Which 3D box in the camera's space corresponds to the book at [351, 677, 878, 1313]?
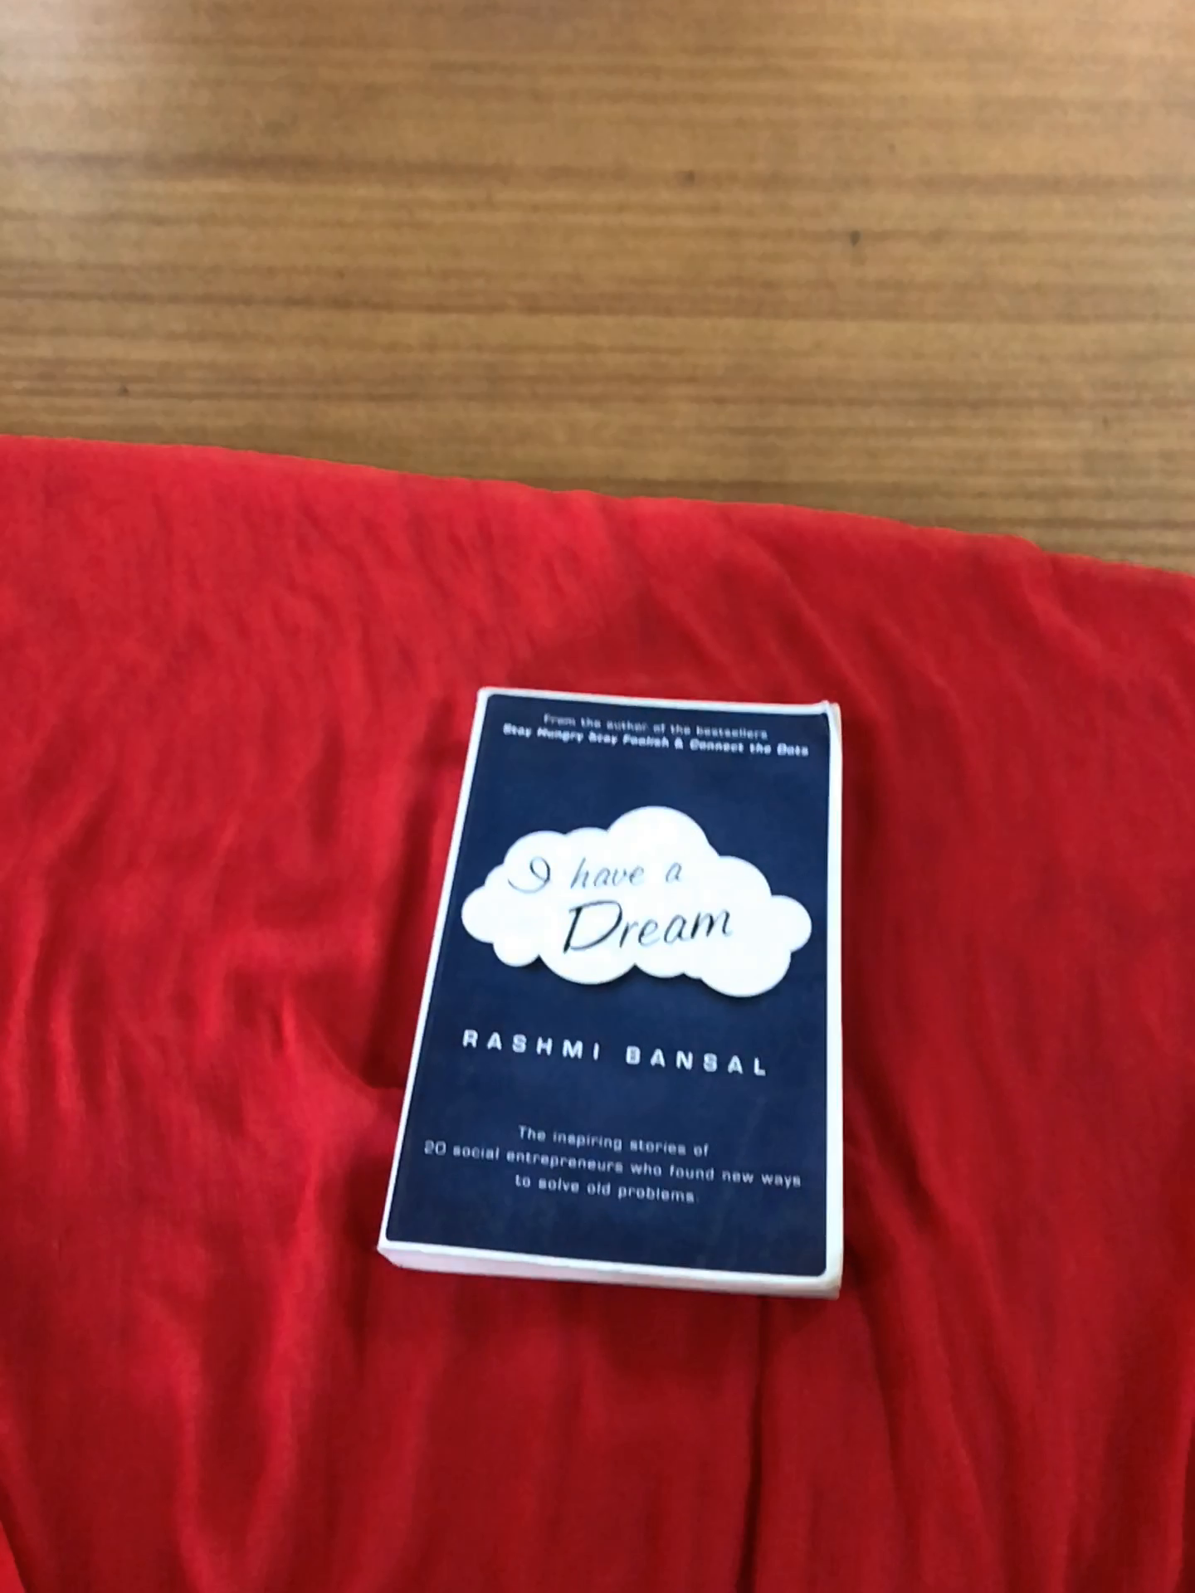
[{"bbox_3d":[0.014,0.052,0.419,0.140,0.040,0.191,2,57,7],"label":"book"}]
